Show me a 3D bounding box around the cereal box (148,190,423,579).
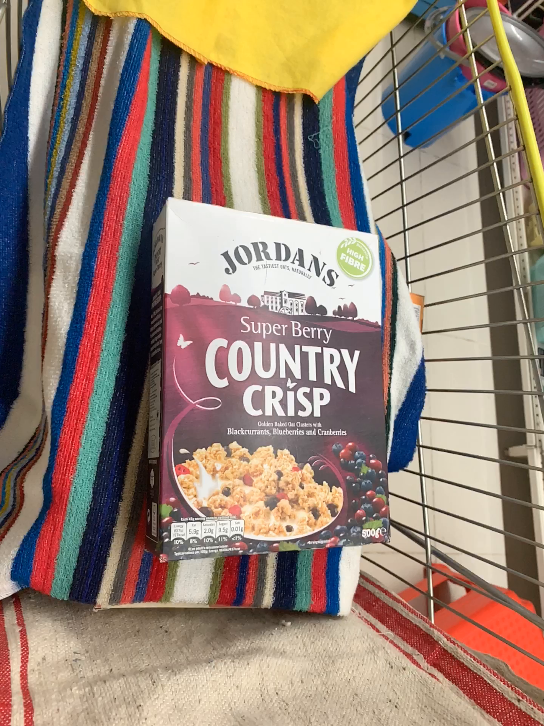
[{"bbox_3d":[0.009,0.015,0.404,0.180,0.060,0.240,3,79,-23],"label":"cereal box"}]
